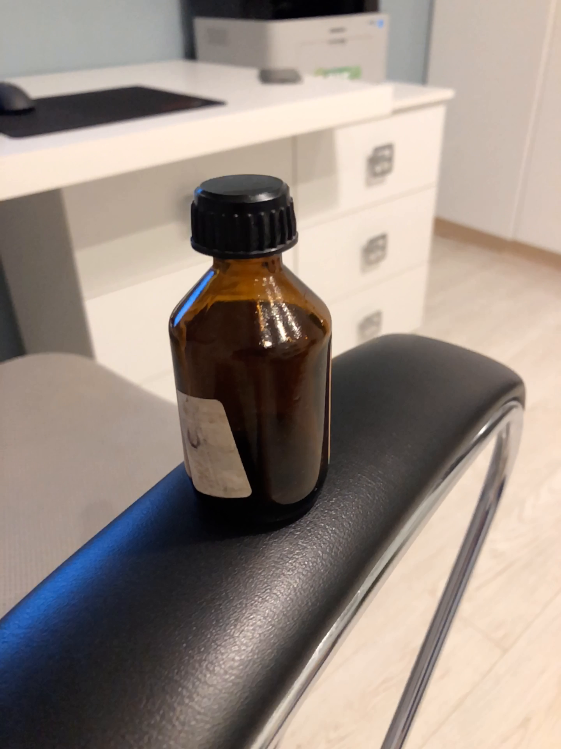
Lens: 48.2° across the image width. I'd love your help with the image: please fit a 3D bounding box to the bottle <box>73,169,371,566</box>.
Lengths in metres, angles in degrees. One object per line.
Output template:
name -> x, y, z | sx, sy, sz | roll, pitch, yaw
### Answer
bottle -> -0.012, -0.004, 0.169 | 0.050, 0.083, 0.050 | 0, 32, 0
